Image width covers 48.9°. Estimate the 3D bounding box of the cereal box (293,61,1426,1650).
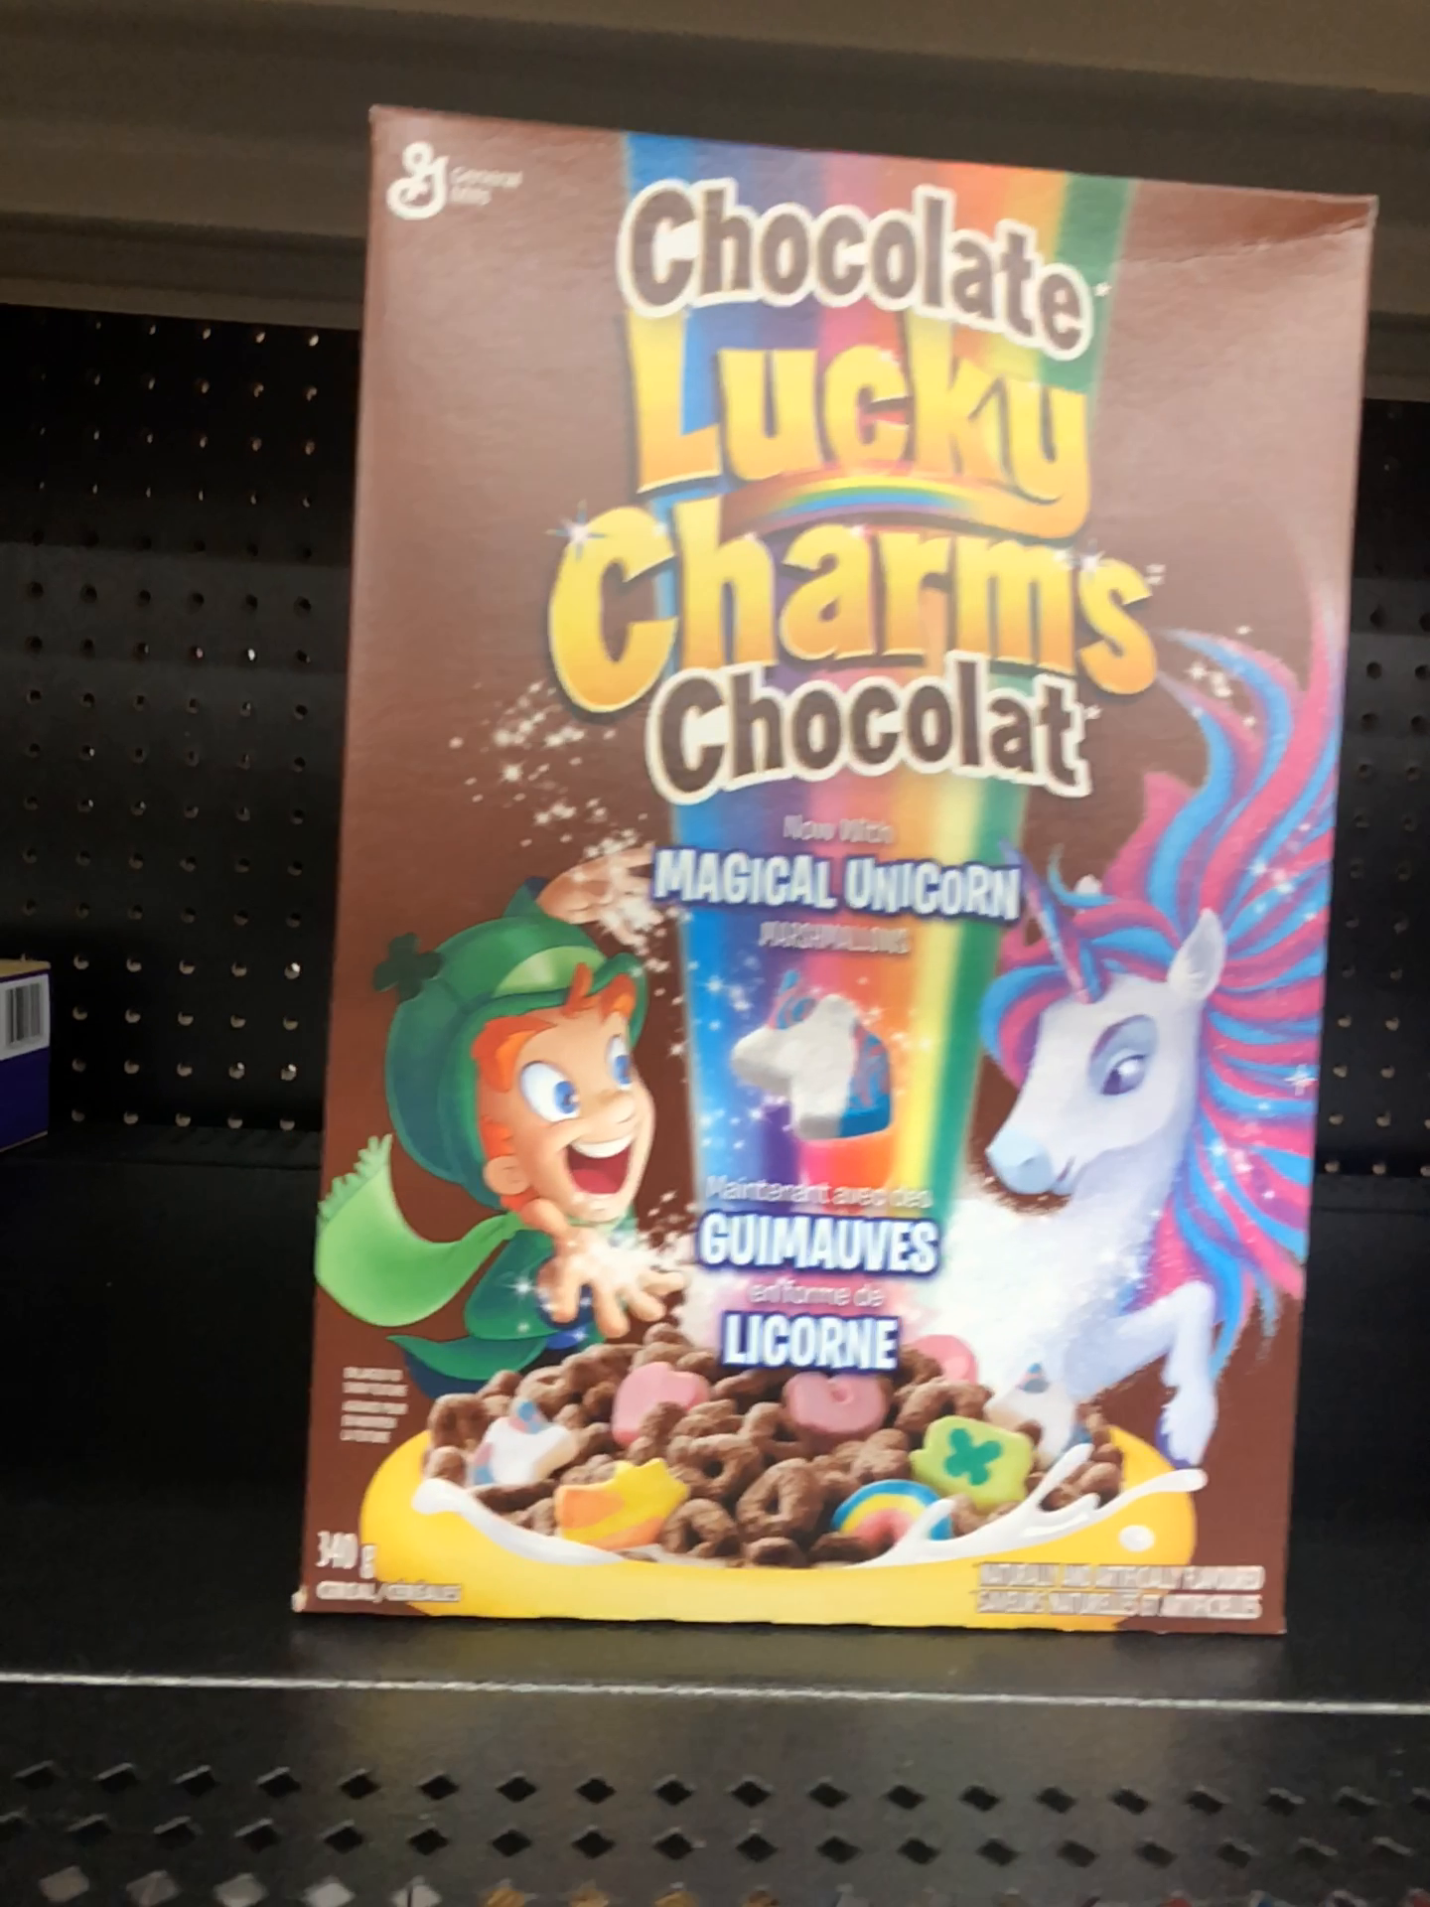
[{"bbox_3d":[0.027,-0.017,0.328,0.200,0.290,0.060,3,1,-3],"label":"cereal box"}]
